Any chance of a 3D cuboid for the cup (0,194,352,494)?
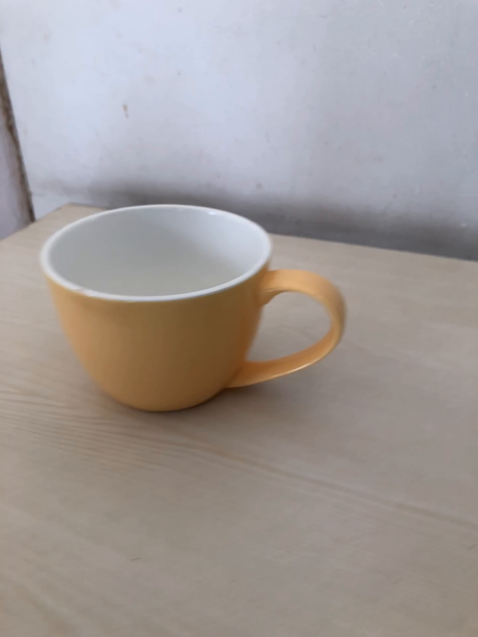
[{"bbox_3d":[-0.028,0.001,0.266,0.140,0.079,0.101,12,33,19],"label":"cup"}]
